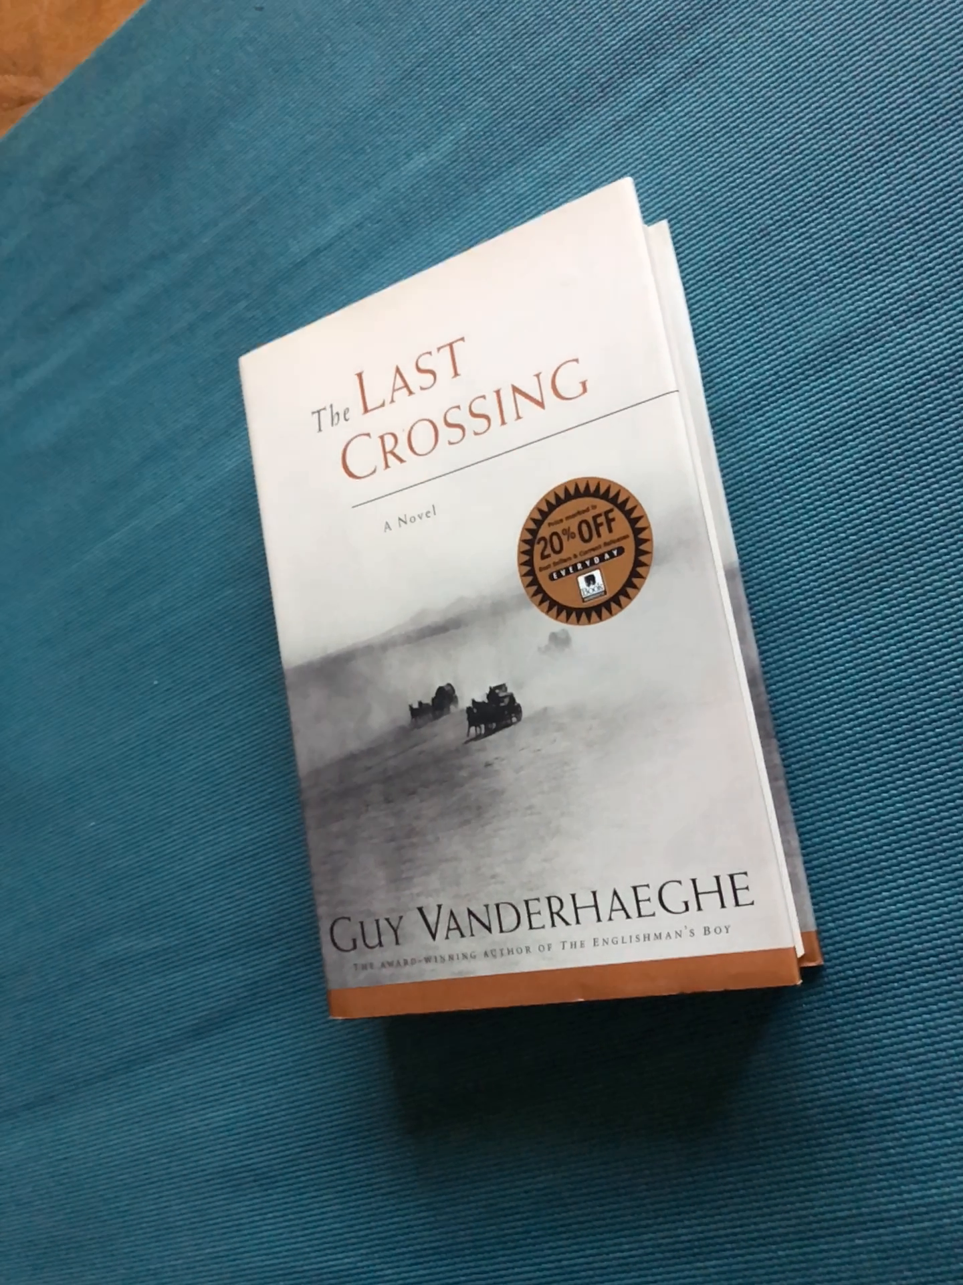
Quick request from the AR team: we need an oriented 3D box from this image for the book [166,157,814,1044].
[{"bbox_3d":[-0.011,-0.003,0.333,0.171,0.040,0.230,-15,78,27],"label":"book"}]
